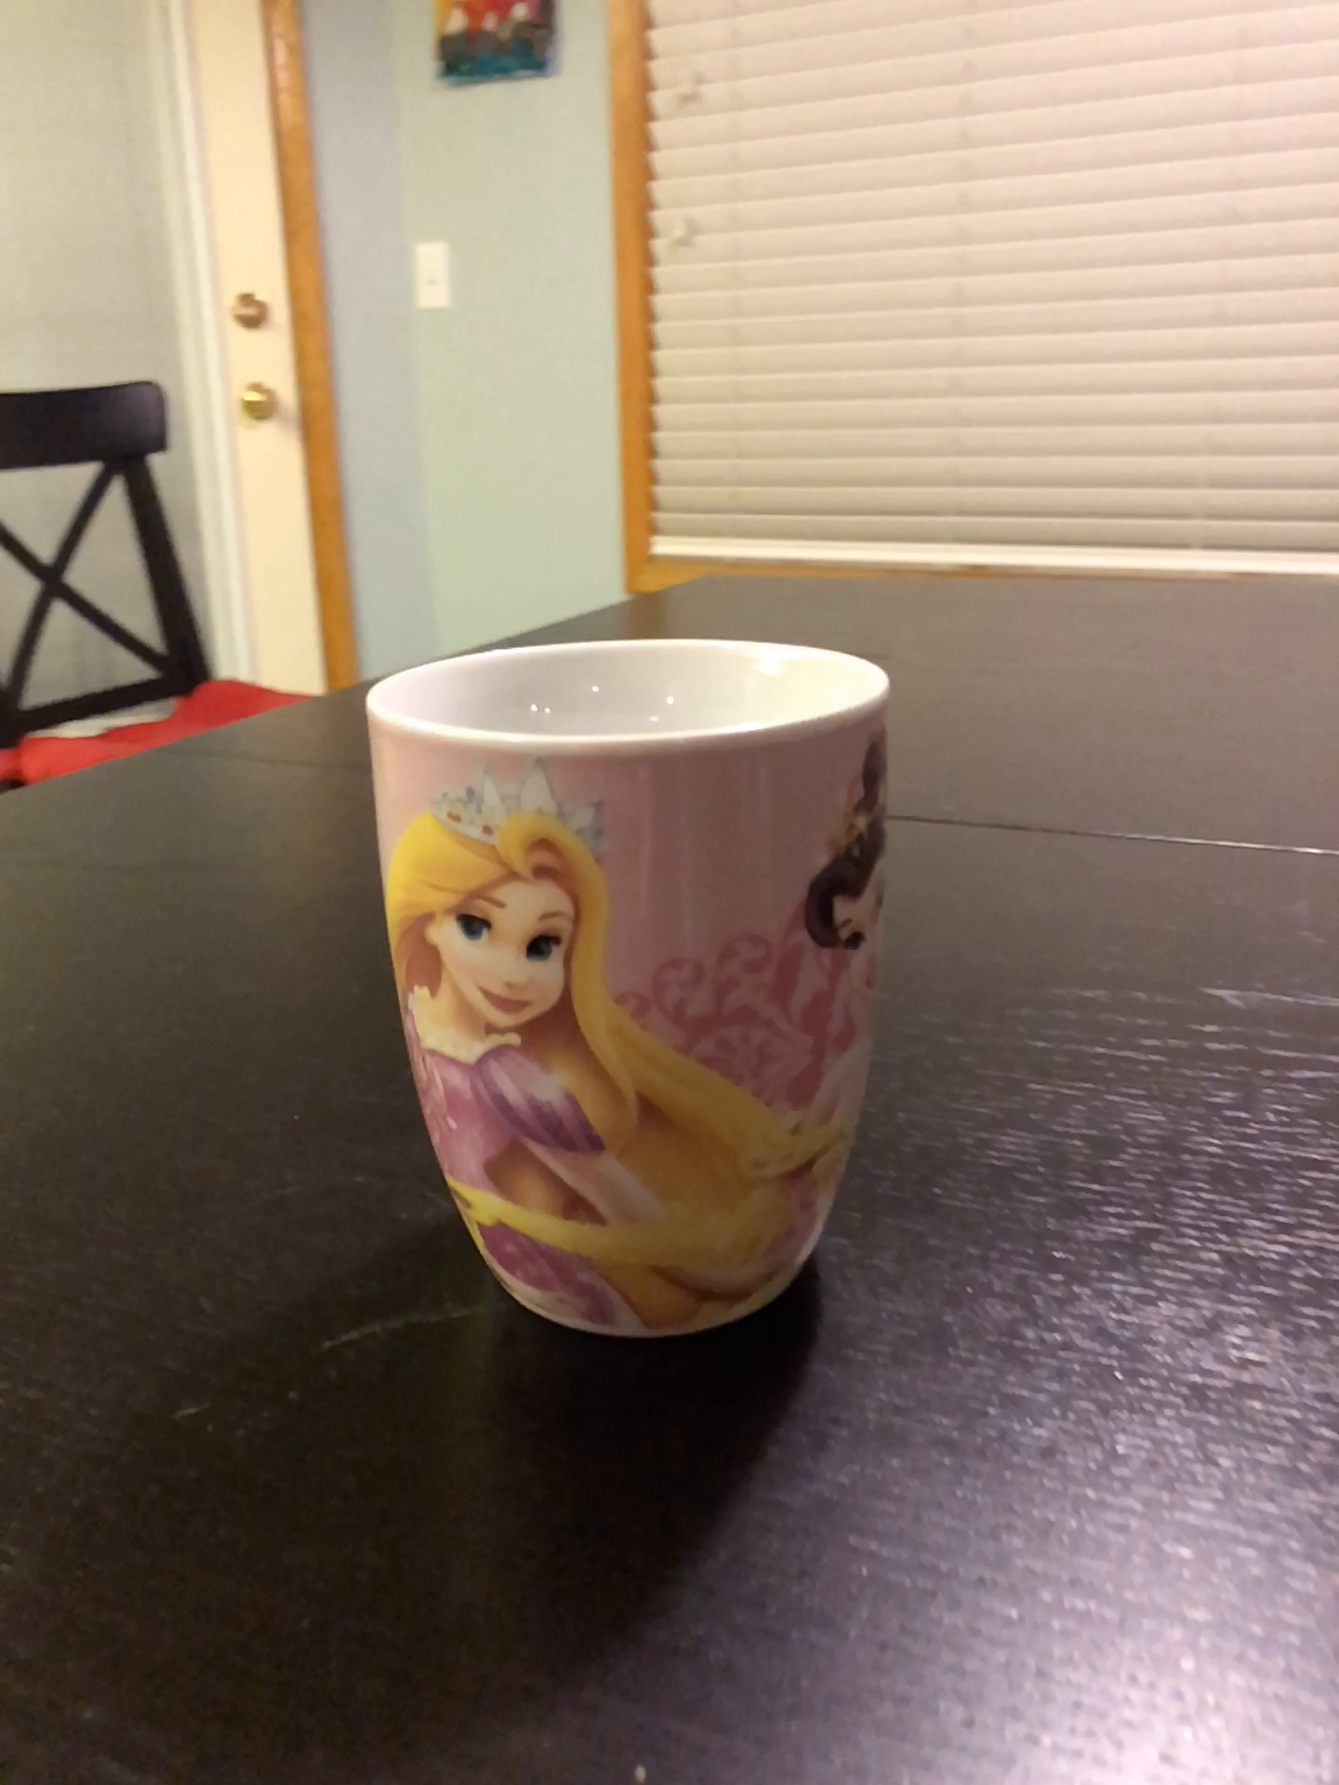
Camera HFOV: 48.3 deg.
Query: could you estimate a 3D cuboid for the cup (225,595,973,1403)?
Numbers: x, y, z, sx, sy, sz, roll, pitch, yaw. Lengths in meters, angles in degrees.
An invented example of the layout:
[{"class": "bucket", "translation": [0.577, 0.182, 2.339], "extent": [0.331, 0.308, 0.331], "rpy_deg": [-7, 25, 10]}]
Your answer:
[{"class": "cup", "translation": [-0.001, 0.005, 0.269], "extent": [0.090, 0.100, 0.120], "rpy_deg": [5, 19, 18]}]
